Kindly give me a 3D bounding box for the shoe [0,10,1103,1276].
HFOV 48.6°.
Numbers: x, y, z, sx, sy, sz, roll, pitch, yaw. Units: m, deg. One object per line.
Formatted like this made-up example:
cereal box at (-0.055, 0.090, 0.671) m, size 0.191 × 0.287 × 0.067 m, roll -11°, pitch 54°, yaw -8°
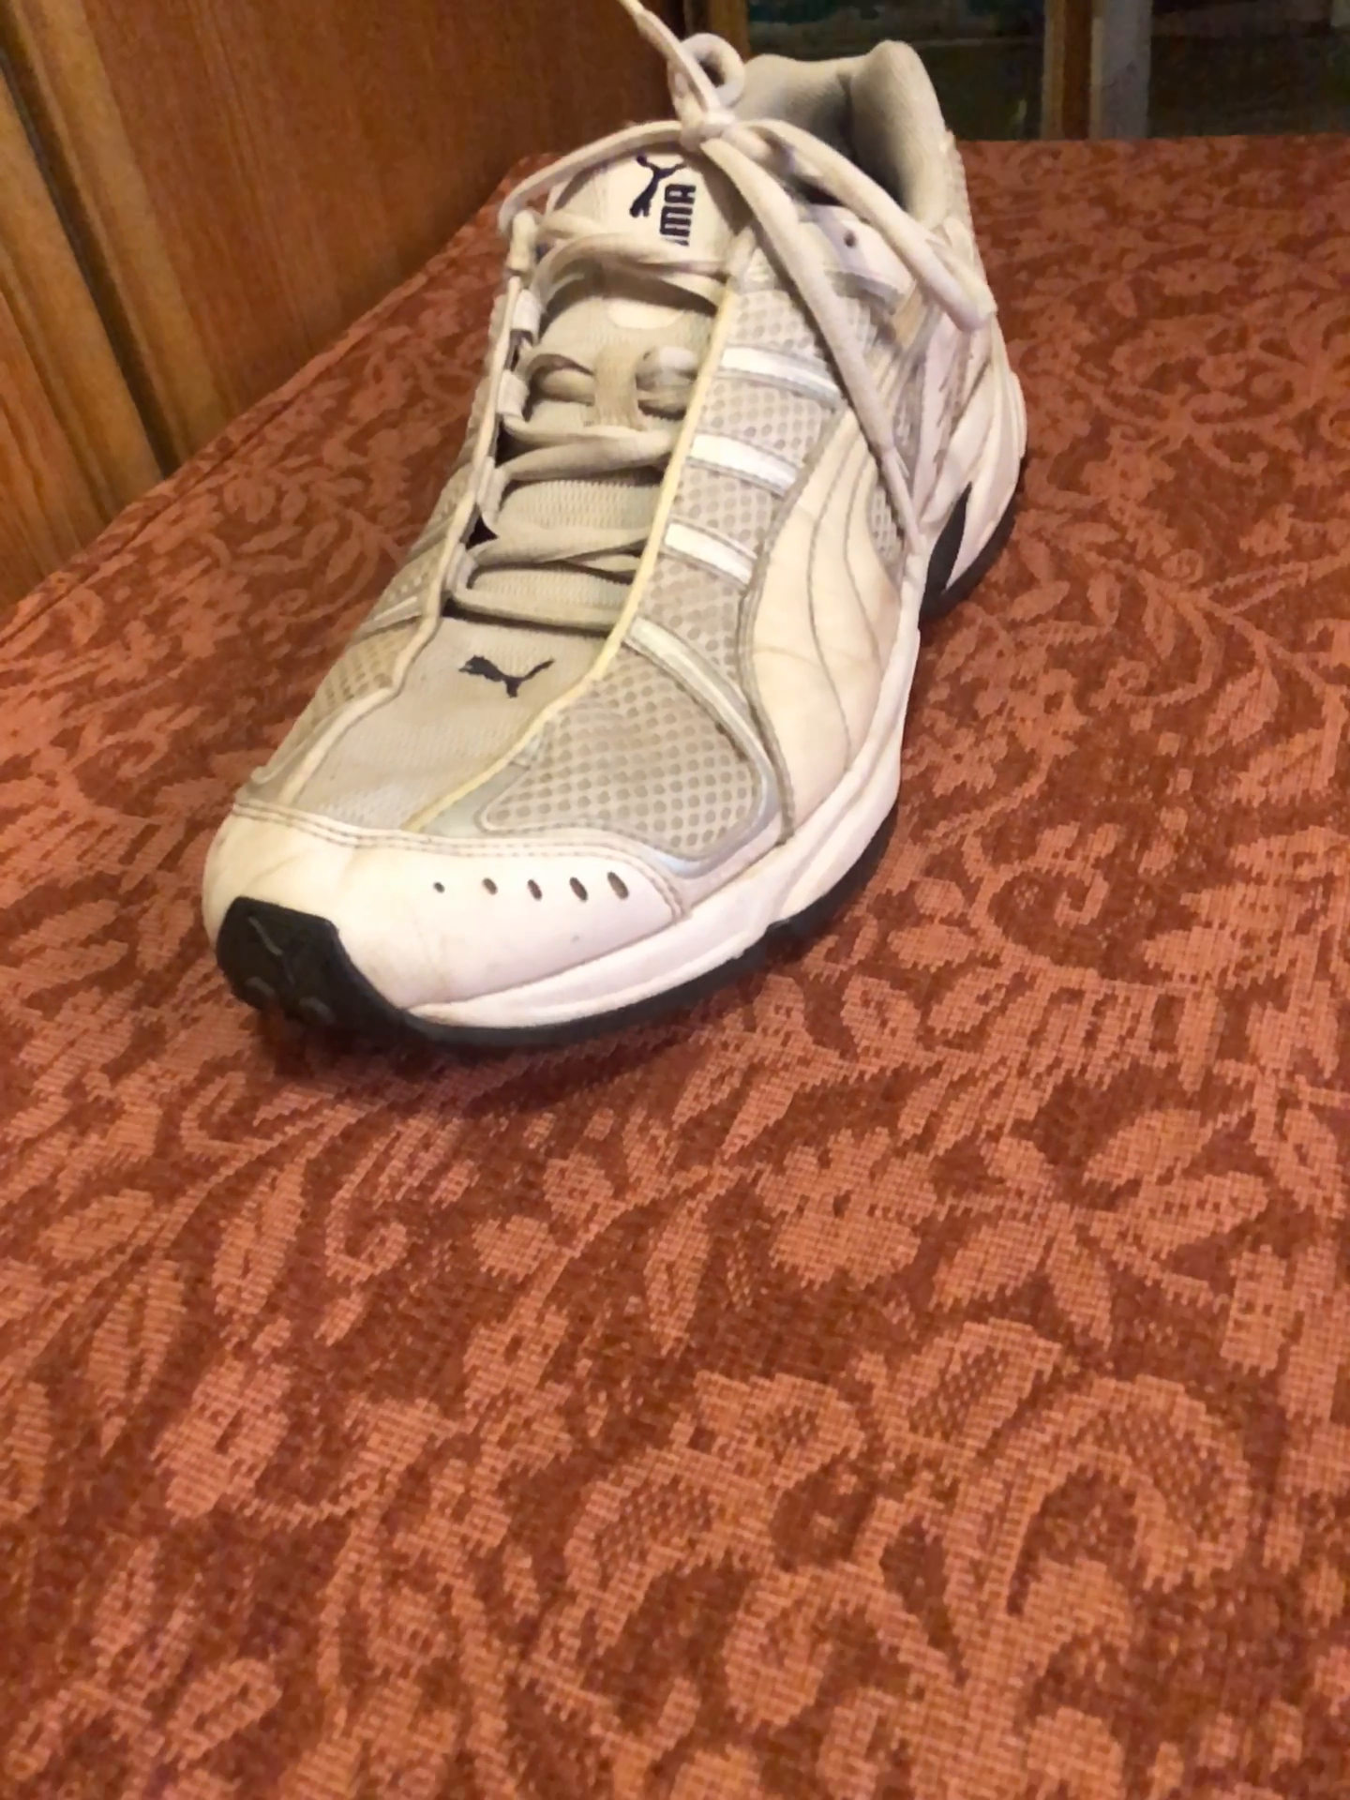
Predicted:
shoe at (0.006, -0.084, 0.305) m, size 0.100 × 0.100 × 0.291 m, roll 10°, pitch 45°, yaw 22°
